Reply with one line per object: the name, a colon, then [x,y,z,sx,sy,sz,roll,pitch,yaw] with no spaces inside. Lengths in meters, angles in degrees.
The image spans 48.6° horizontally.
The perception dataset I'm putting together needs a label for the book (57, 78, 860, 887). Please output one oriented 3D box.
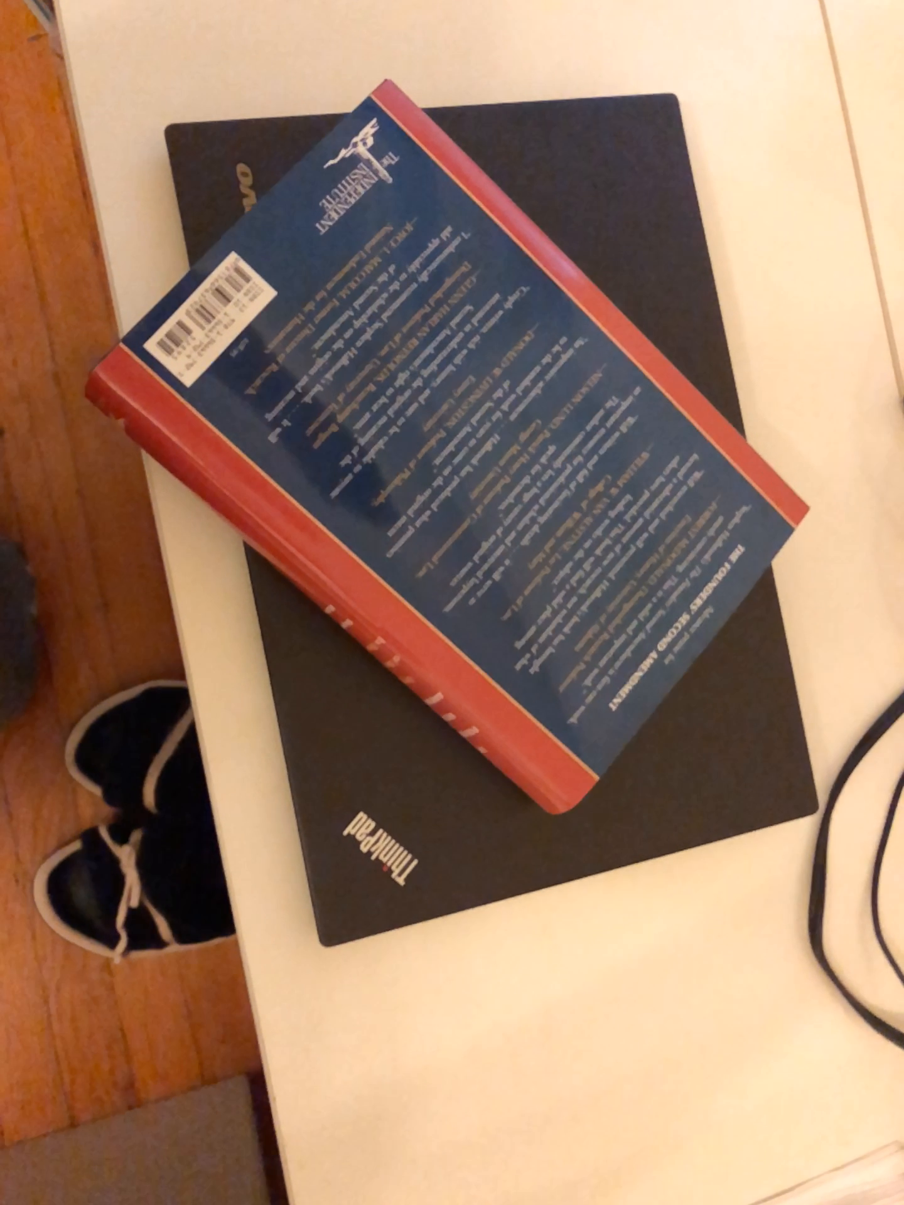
book: [0.011,-0.043,0.371,0.240,0.040,0.170,43,75,-6]
